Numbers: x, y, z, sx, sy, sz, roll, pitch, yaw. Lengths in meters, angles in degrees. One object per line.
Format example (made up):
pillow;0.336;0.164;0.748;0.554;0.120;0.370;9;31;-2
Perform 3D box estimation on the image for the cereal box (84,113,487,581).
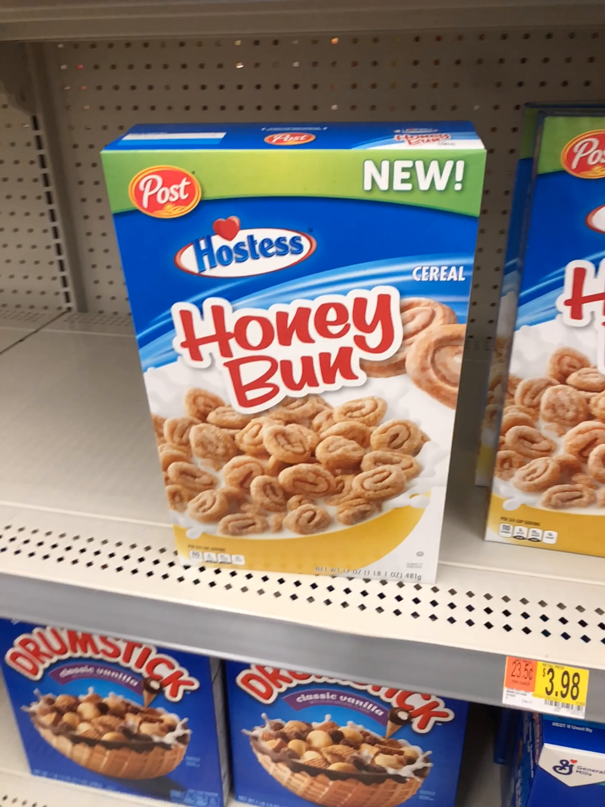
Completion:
cereal box;-0.001;-0.021;0.439;0.200;0.299;0.070;2;34;8
